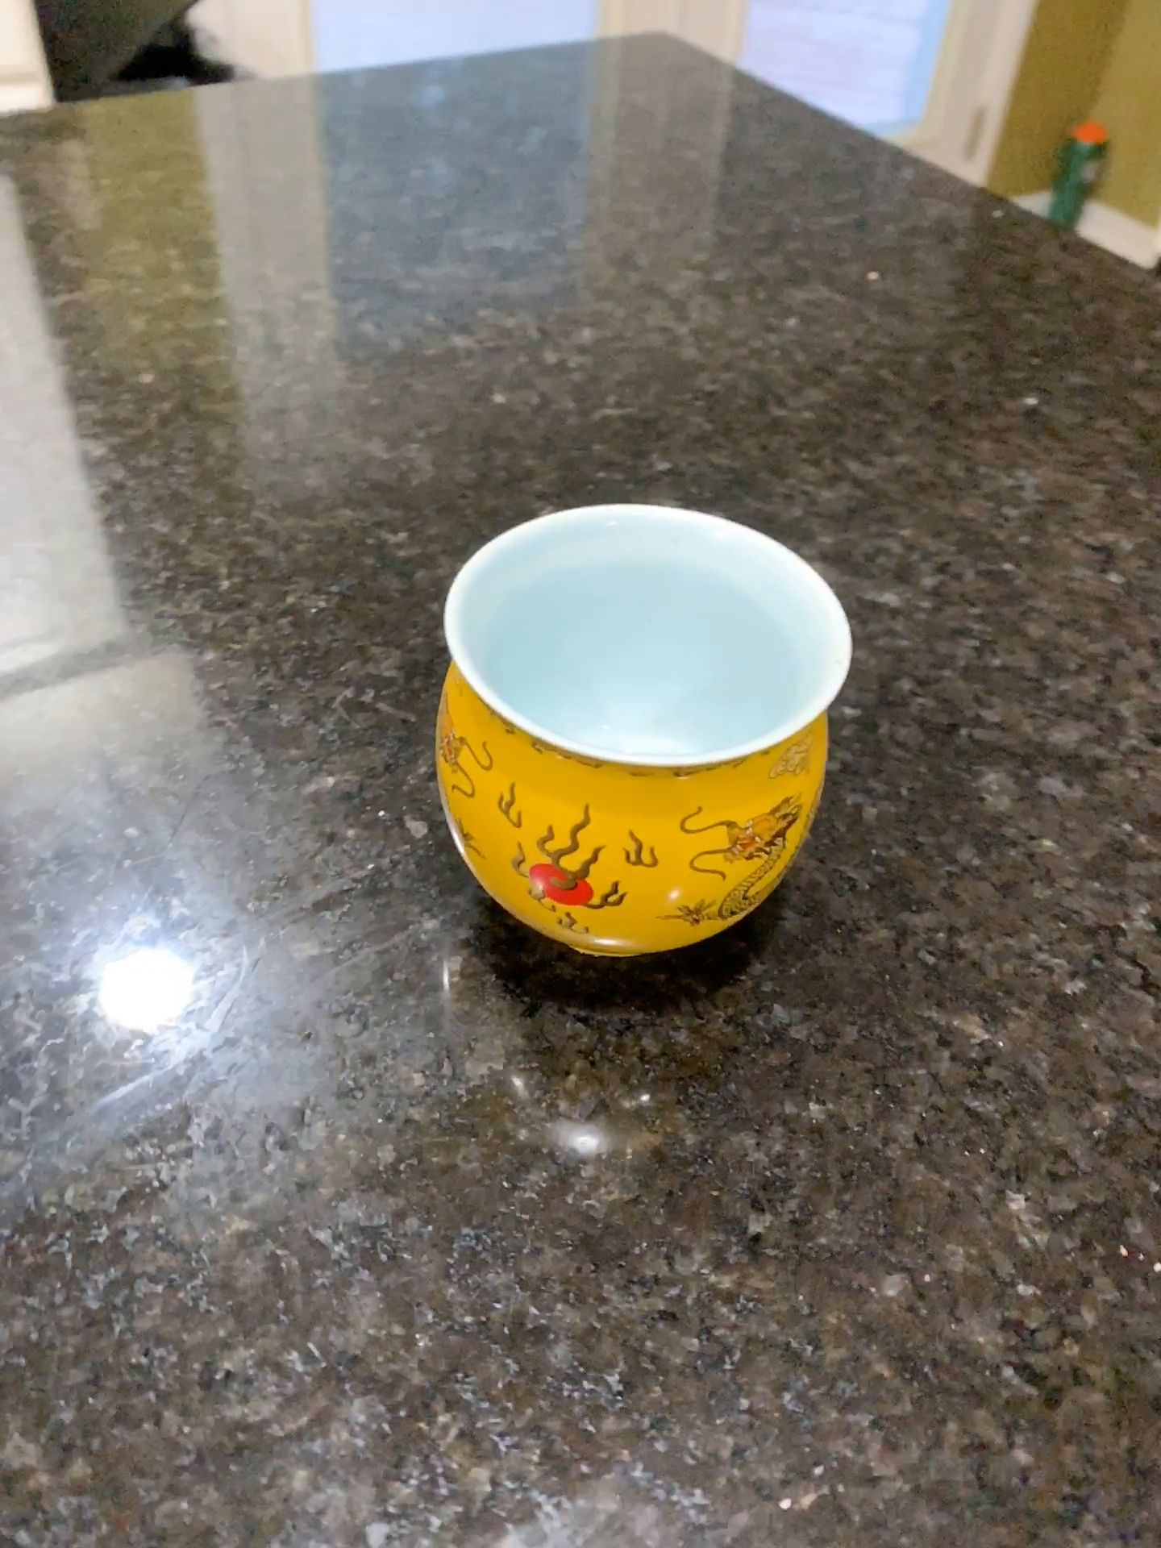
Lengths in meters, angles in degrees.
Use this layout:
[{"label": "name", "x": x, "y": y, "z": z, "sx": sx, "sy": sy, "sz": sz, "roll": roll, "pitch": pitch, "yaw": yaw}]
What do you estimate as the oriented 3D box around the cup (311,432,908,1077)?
[{"label": "cup", "x": 0.006, "y": -0.007, "z": 0.222, "sx": 0.072, "sy": 0.066, "sz": 0.076, "roll": 2, "pitch": 45, "yaw": -2}]
